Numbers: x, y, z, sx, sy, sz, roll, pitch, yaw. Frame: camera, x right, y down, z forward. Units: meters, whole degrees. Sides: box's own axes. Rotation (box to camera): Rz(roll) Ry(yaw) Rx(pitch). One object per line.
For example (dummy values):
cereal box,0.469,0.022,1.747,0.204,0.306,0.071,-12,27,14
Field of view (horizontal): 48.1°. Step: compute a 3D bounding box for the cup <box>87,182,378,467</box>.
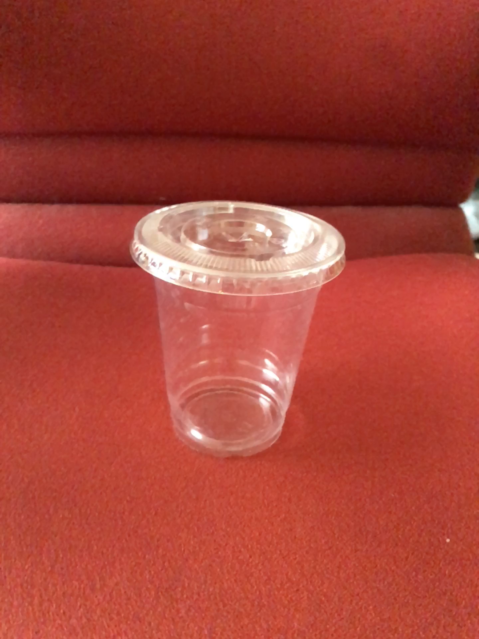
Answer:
cup,-0.005,-0.003,0.249,0.100,0.090,0.100,3,28,-2
